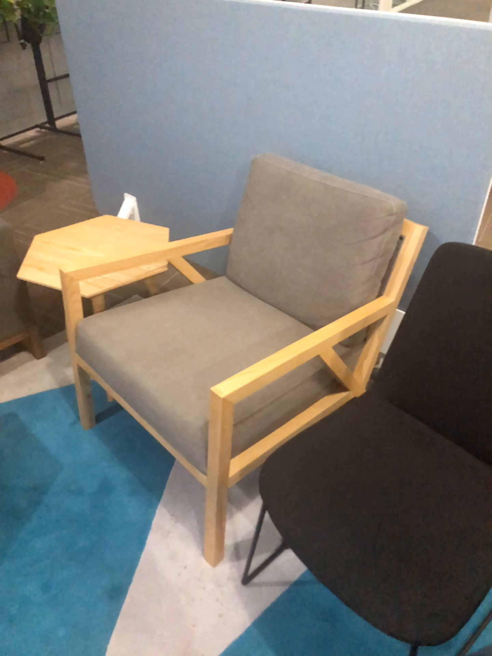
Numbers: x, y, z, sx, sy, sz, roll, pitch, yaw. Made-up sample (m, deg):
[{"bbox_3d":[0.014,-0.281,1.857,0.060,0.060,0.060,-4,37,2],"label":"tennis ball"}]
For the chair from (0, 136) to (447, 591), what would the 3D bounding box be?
[{"bbox_3d":[-0.050,0.012,1.537,0.845,0.743,0.712,-30,46,-33],"label":"chair"}]
